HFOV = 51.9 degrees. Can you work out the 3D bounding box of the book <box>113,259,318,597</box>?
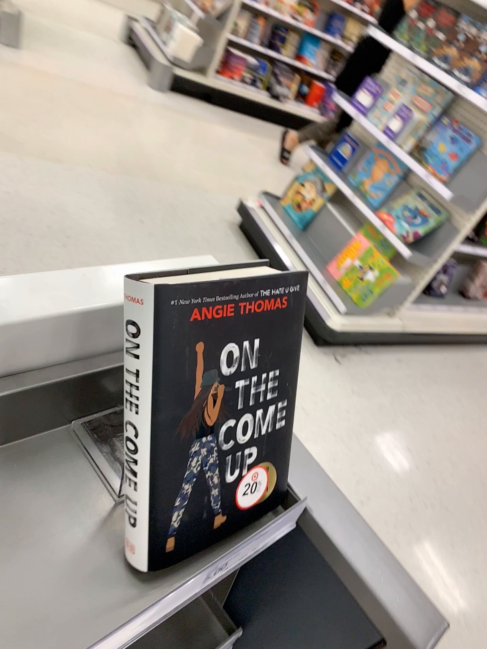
[{"bbox_3d":[-0.021,0.068,0.393,0.149,0.222,0.056,-11,22,-44],"label":"book"}]
